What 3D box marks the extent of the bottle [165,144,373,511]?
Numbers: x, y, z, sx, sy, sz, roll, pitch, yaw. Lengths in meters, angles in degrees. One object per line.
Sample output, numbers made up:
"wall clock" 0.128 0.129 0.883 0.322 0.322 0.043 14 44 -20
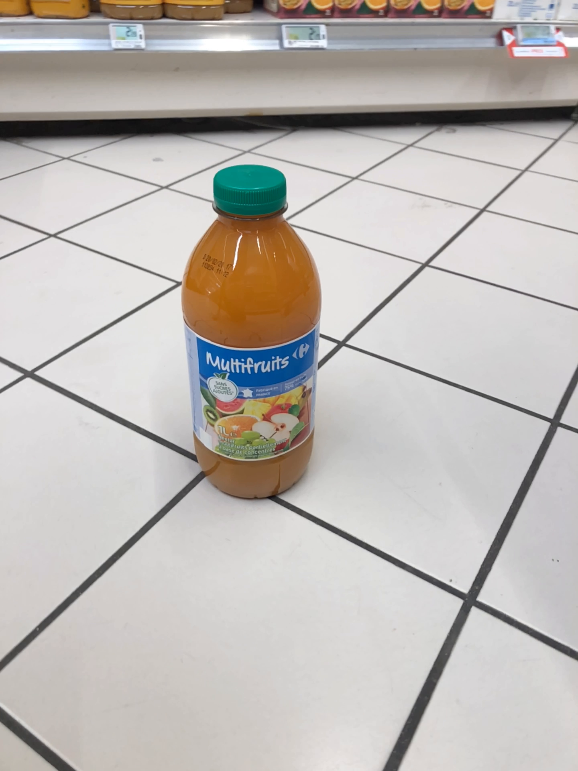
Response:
"bottle" -0.020 -0.034 0.413 0.100 0.209 0.100 2 36 -1
